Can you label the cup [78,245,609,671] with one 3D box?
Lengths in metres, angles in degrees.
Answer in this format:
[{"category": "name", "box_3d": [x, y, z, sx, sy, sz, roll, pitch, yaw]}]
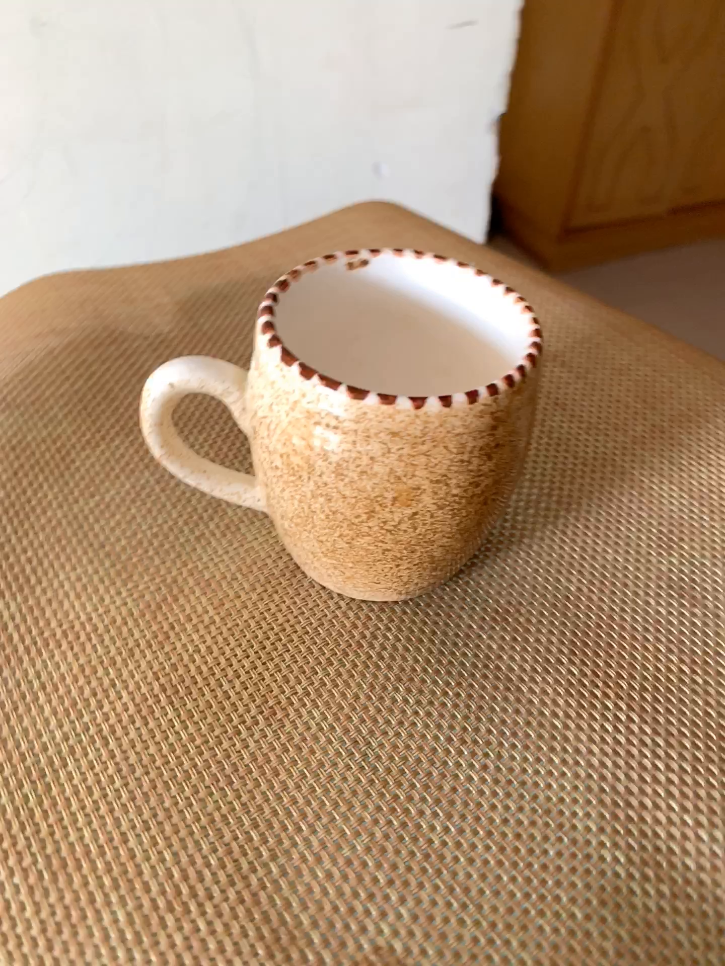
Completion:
[{"category": "cup", "box_3d": [-0.005, -0.006, 0.179, 0.090, 0.069, 0.071, 1, 44, -3]}]
